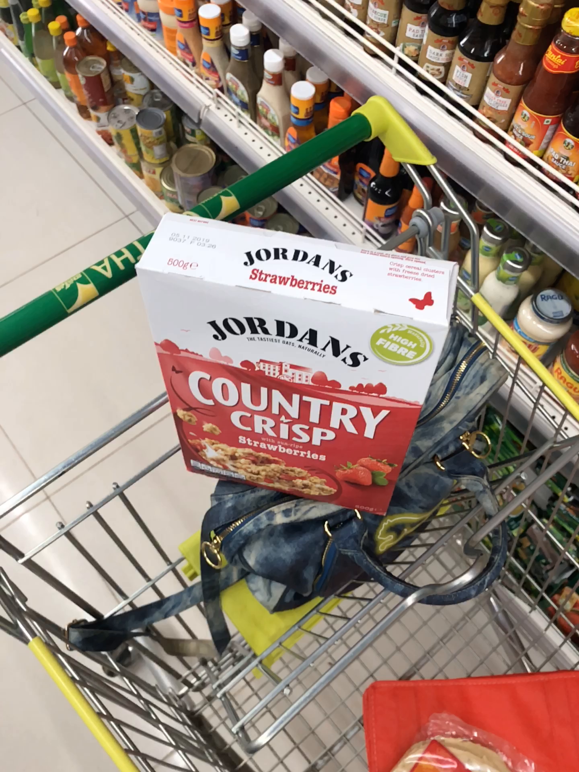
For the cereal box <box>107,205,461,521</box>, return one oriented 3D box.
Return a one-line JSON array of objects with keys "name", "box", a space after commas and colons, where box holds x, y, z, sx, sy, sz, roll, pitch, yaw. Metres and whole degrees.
[{"name": "cereal box", "box": [-0.005, 0.003, 0.466, 0.190, 0.250, 0.060, 12, 57, 6]}]
